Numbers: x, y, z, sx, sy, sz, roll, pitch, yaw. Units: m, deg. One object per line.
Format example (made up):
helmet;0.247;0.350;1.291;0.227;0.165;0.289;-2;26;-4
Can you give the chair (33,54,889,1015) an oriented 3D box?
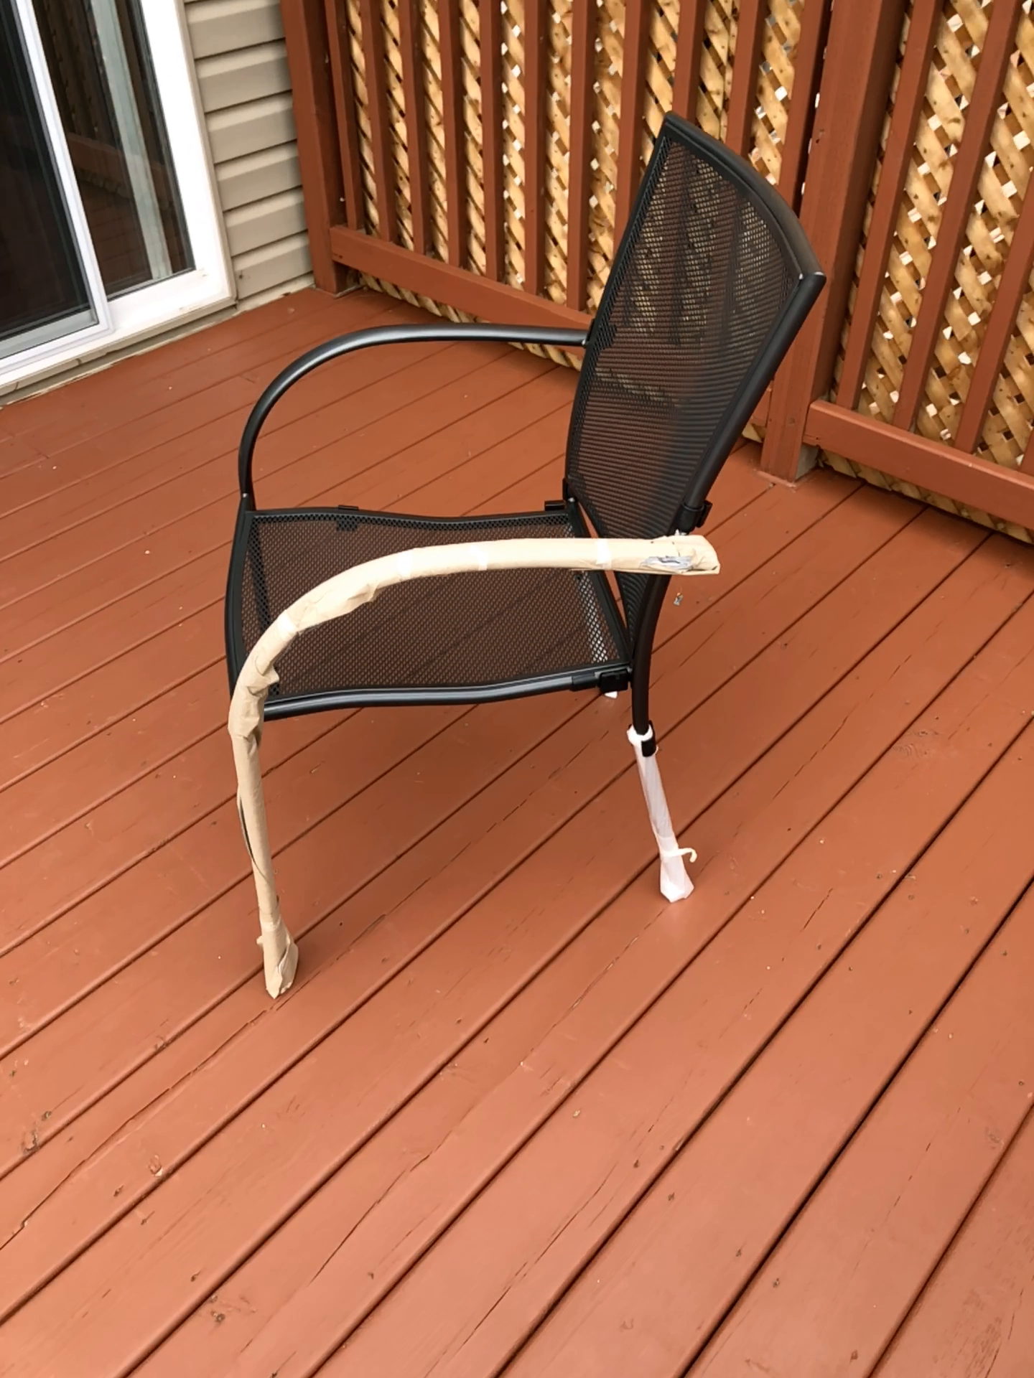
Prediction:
chair;-0.069;-0.167;1.390;0.650;0.926;0.603;-6;42;-6
